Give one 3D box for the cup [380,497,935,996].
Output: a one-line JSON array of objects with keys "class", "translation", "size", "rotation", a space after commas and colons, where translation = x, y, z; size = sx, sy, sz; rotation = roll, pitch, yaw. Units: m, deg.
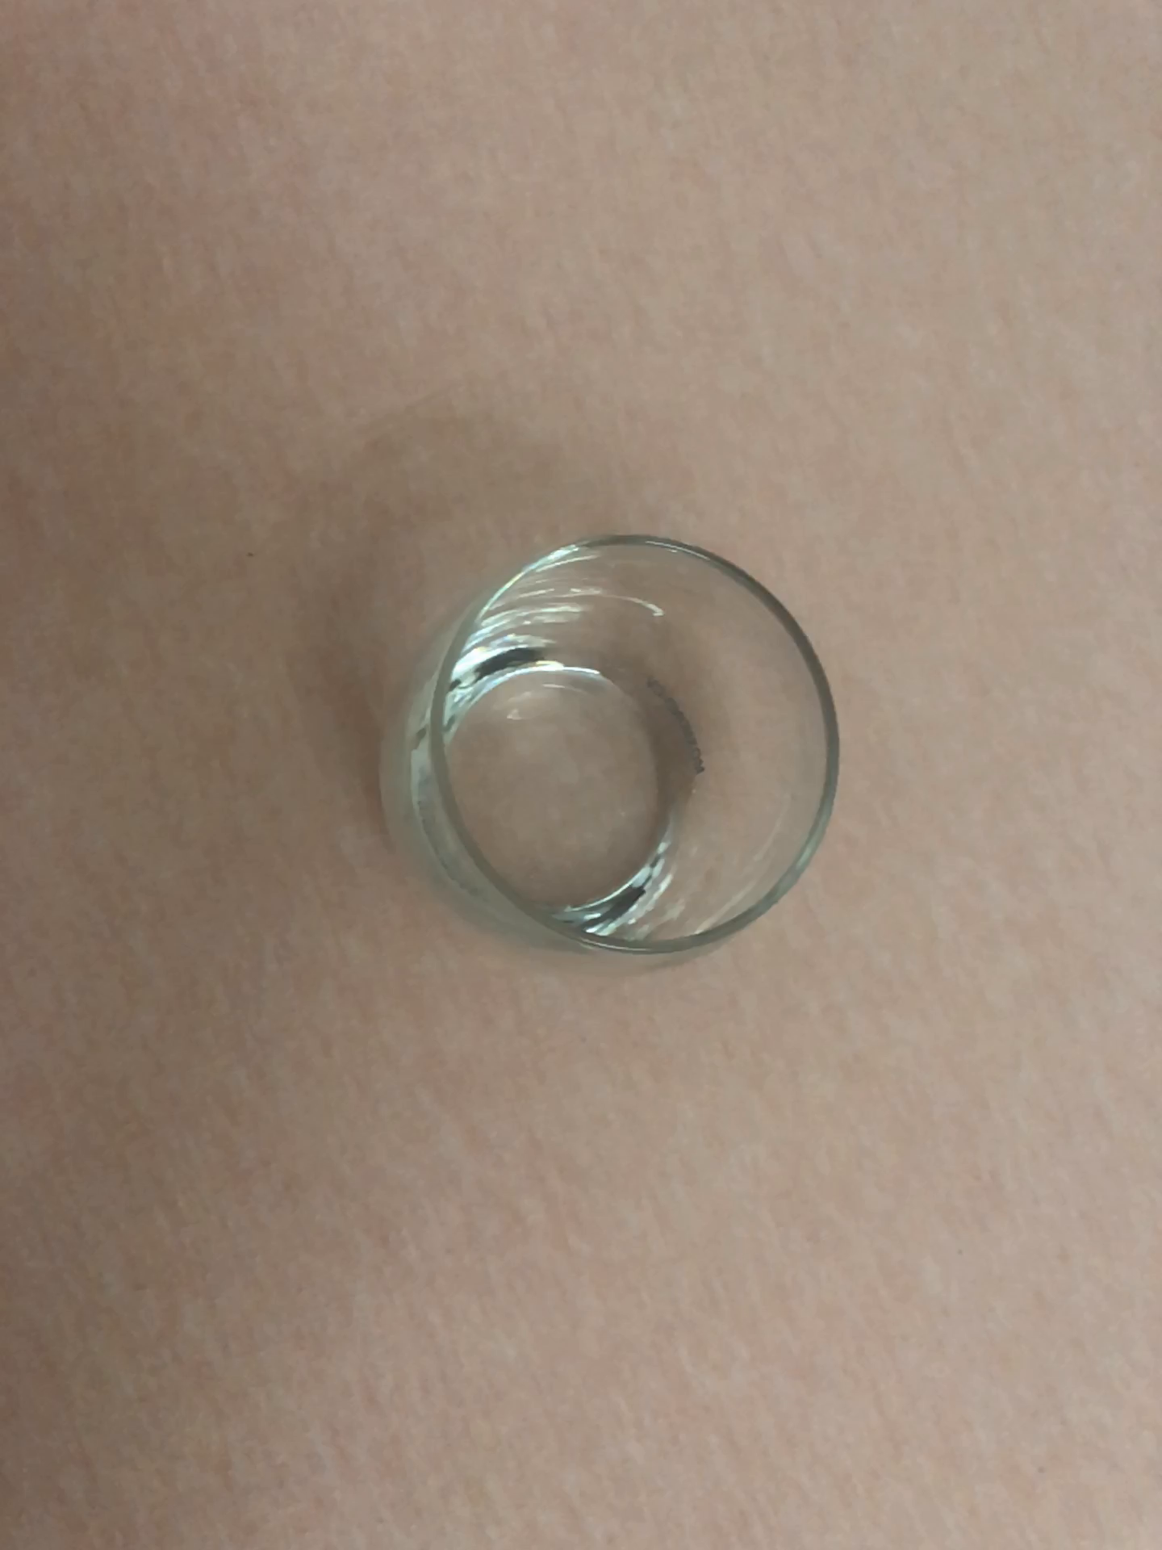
[{"class": "cup", "translation": [0.009, -0.002, 0.301], "size": [0.090, 0.100, 0.090], "rotation": [2, 82, -15]}]
